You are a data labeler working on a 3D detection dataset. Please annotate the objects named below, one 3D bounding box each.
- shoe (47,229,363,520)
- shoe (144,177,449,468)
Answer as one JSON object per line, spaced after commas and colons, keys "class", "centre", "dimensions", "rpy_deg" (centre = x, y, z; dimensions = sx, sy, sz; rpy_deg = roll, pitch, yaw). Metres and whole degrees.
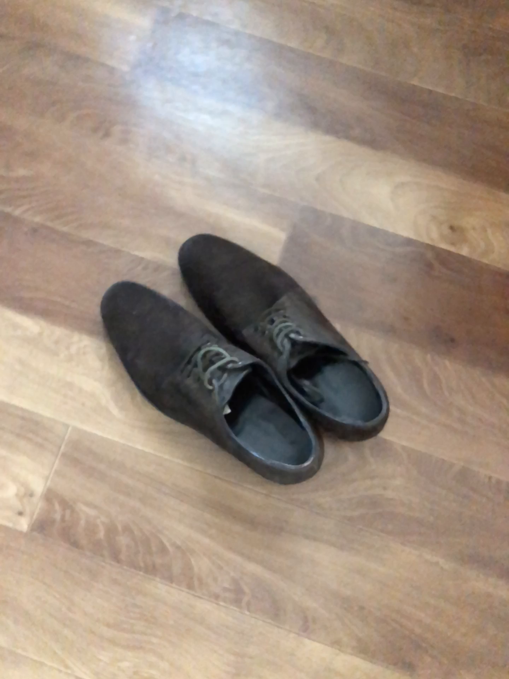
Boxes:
{"class": "shoe", "centre": [-0.053, 0.037, 0.606], "dimensions": [0.310, 0.100, 0.120], "rpy_deg": [39, 78, 8]}
{"class": "shoe", "centre": [0.038, -0.015, 0.619], "dimensions": [0.310, 0.100, 0.120], "rpy_deg": [43, 79, 9]}
